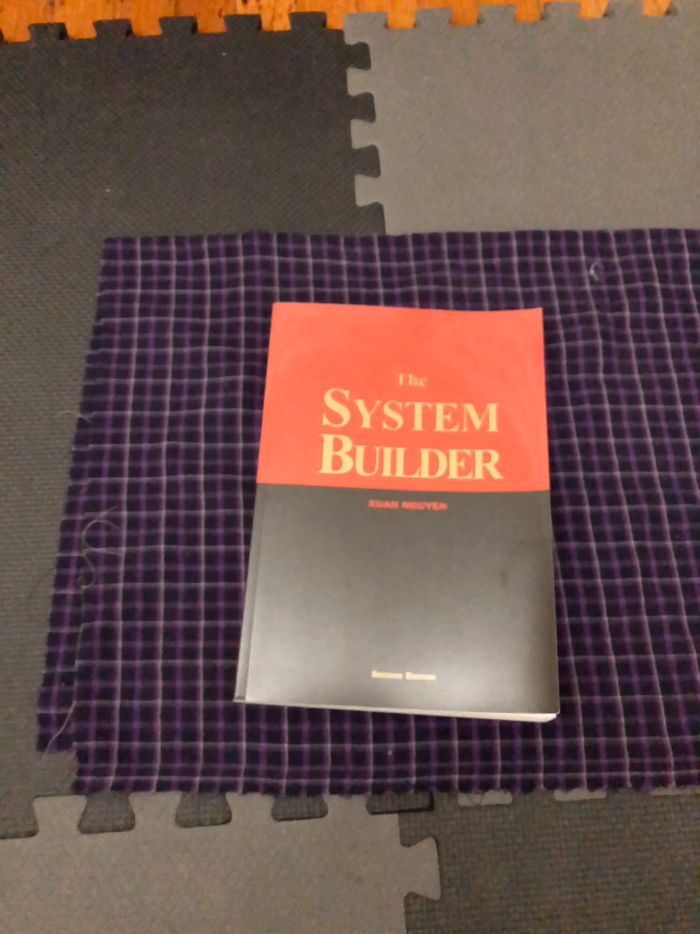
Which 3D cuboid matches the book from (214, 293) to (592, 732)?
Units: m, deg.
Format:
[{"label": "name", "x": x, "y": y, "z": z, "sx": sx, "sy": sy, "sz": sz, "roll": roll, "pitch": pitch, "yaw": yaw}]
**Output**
[{"label": "book", "x": 0.034, "y": 0.018, "z": 0.472, "sx": 0.200, "sy": 0.030, "sz": 0.261, "roll": 3, "pitch": 69, "yaw": 1}]
